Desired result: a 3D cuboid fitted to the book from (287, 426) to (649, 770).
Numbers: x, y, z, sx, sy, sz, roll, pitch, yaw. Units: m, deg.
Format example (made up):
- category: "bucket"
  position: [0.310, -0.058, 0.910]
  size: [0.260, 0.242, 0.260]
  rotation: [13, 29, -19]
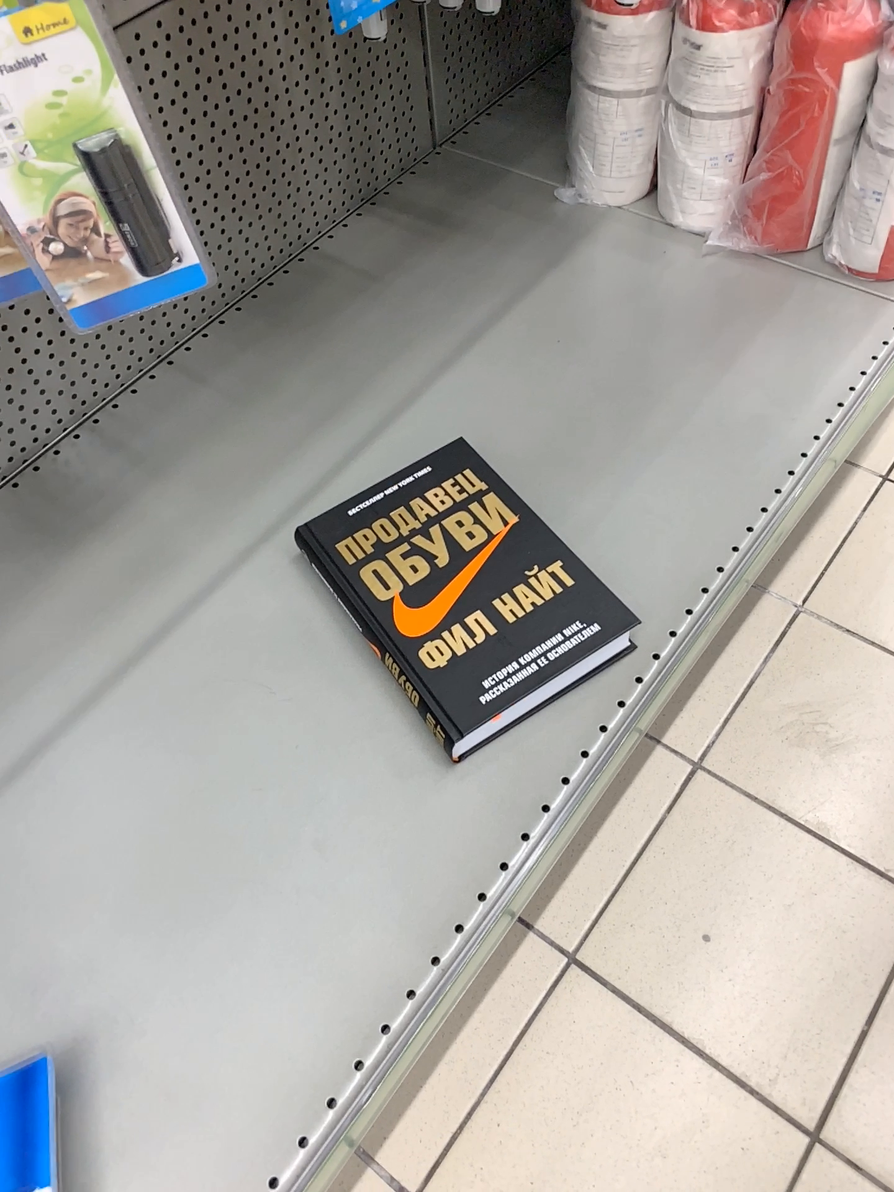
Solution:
- category: "book"
  position: [0.009, -0.012, 0.719]
  size: [0.170, 0.042, 0.251]
  rotation: [-30, 57, -15]
